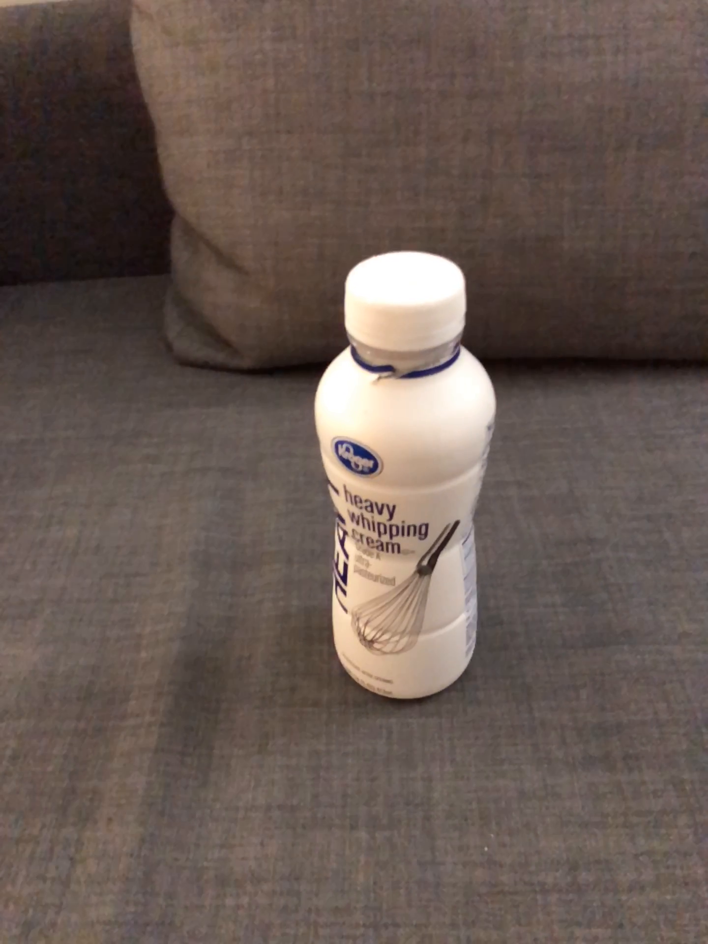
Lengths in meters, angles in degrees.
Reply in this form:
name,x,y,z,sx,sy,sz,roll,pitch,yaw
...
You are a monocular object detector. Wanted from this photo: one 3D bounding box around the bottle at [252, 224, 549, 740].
name,x,y,z,sx,sy,sz,roll,pitch,yaw
bottle,0.022,0.010,0.318,0.070,0.189,0.070,-3,38,3
